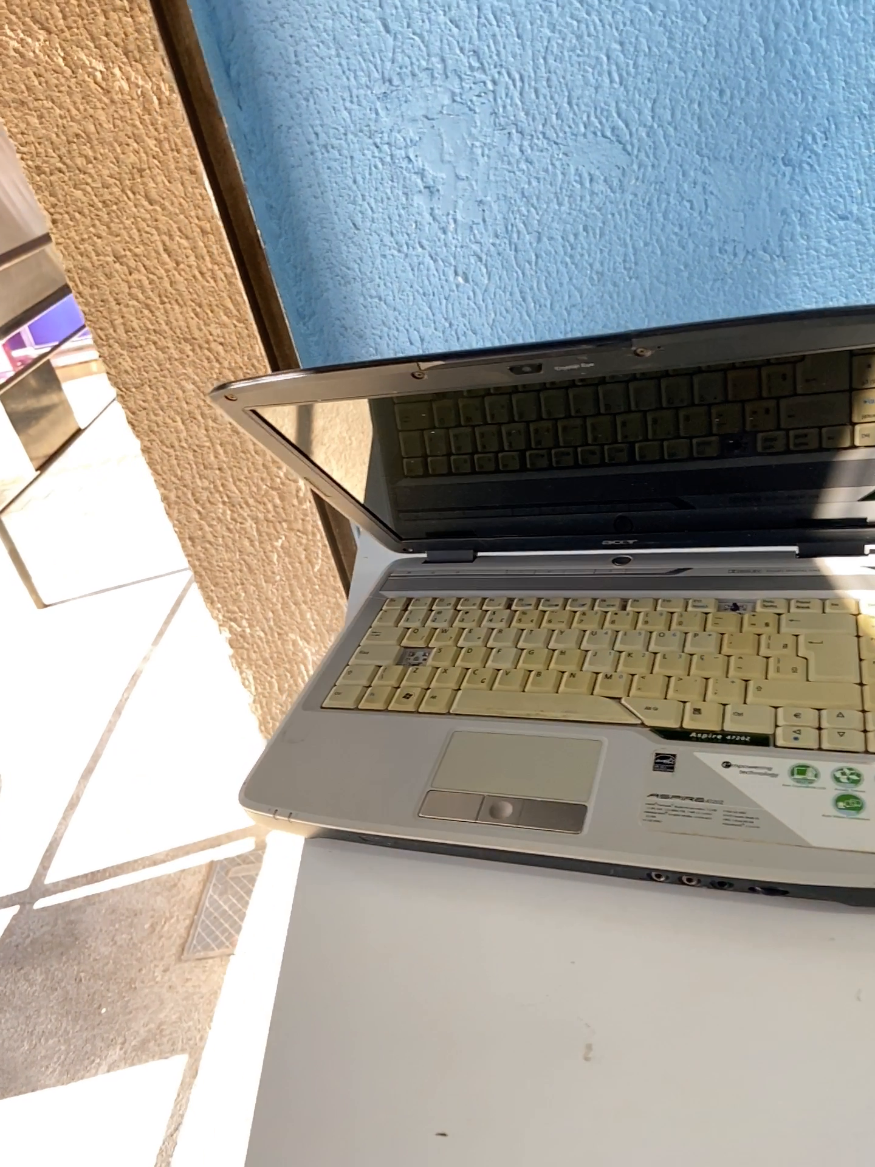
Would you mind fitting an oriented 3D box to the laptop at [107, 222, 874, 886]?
[{"bbox_3d":[0.067,-0.027,0.440,0.328,0.179,0.226,-1,34,23],"label":"laptop"}]
